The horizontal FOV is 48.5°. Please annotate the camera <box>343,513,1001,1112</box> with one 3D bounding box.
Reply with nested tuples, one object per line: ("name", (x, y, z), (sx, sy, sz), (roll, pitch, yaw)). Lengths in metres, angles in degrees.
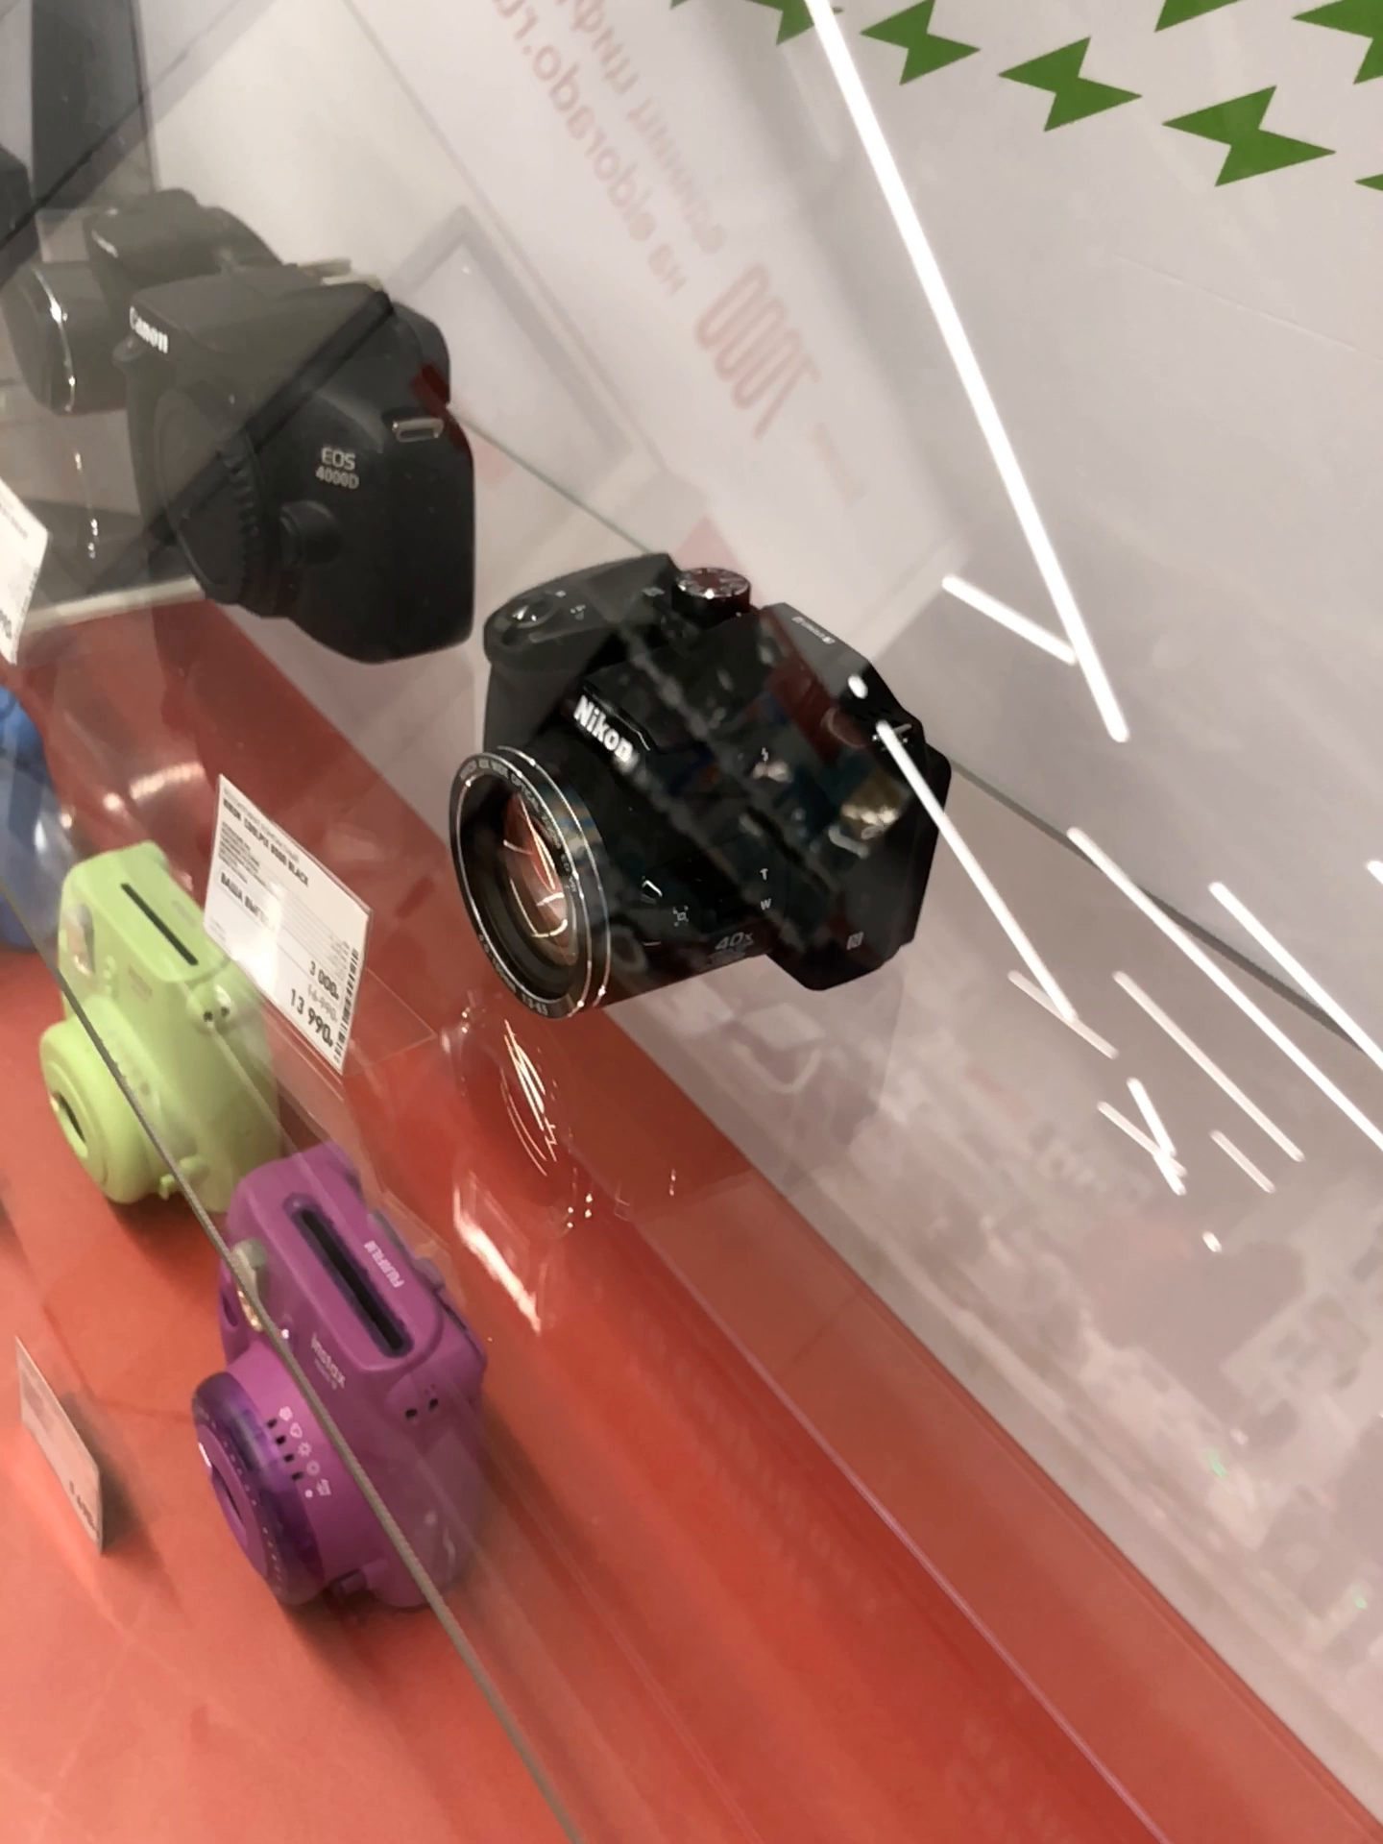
("camera", (-0.010, -0.034, 0.364), (0.100, 0.070, 0.115), (-20, 45, -29))
